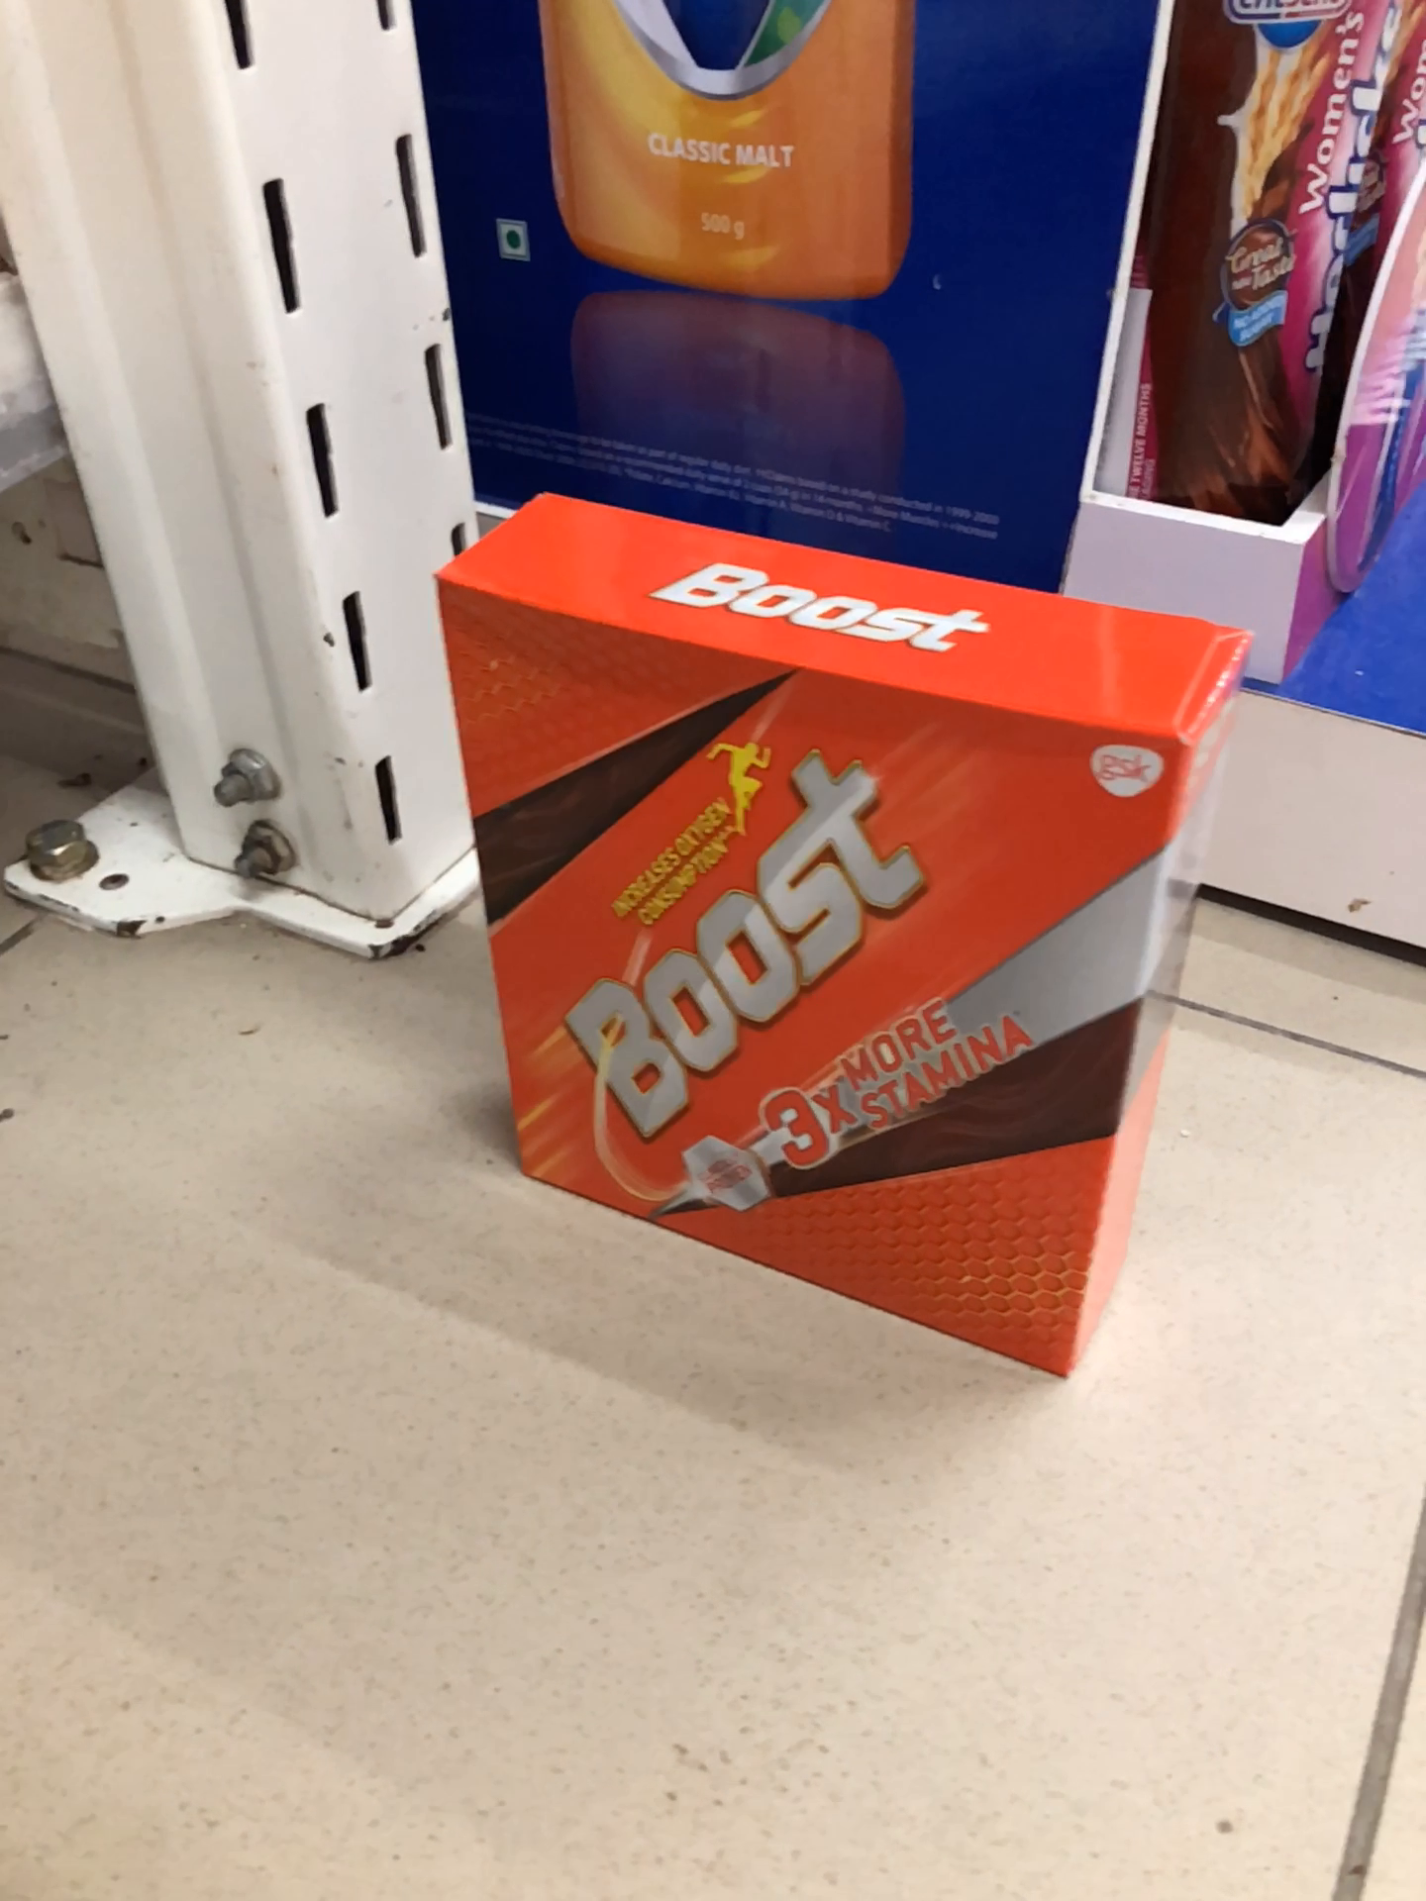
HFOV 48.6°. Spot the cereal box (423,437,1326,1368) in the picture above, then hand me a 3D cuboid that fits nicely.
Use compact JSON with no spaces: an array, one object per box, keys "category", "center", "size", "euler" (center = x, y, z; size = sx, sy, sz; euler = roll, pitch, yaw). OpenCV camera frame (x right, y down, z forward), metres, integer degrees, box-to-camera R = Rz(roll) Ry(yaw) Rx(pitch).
[{"category":"cereal box","center":[0.030,-0.007,0.350],"size":[0.160,0.179,0.050],"euler":[14,41,19]}]
